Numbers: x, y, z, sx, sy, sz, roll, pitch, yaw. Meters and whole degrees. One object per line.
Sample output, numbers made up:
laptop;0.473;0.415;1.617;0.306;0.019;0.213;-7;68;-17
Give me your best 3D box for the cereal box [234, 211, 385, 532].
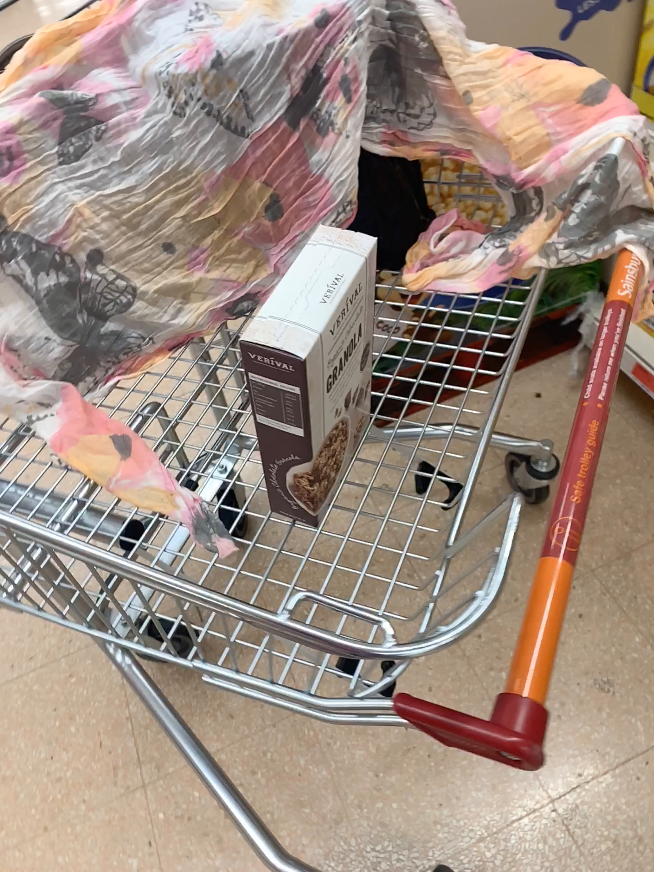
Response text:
cereal box;-0.006;-0.043;0.544;0.050;0.218;0.141;18;54;15
